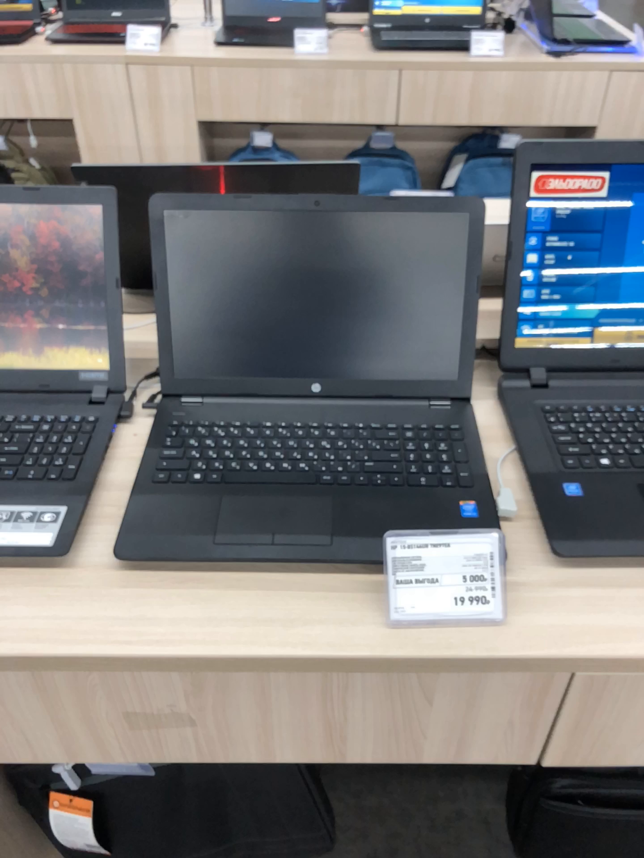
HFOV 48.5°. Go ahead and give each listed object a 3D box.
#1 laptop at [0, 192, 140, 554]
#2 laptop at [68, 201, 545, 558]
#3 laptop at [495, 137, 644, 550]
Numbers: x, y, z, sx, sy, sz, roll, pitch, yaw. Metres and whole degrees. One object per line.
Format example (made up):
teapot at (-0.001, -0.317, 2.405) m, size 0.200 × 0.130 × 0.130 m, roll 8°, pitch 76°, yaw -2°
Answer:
laptop at (-0.440, -0.080, 0.766) m, size 0.359 × 0.226 × 0.352 m, roll 1°, pitch 38°, yaw -1°
laptop at (-0.016, -0.068, 0.759) m, size 0.377 × 0.215 × 0.335 m, roll 0°, pitch 40°, yaw 0°
laptop at (0.429, -0.111, 0.763) m, size 0.396 × 0.267 × 0.397 m, roll 1°, pitch 38°, yaw 2°
